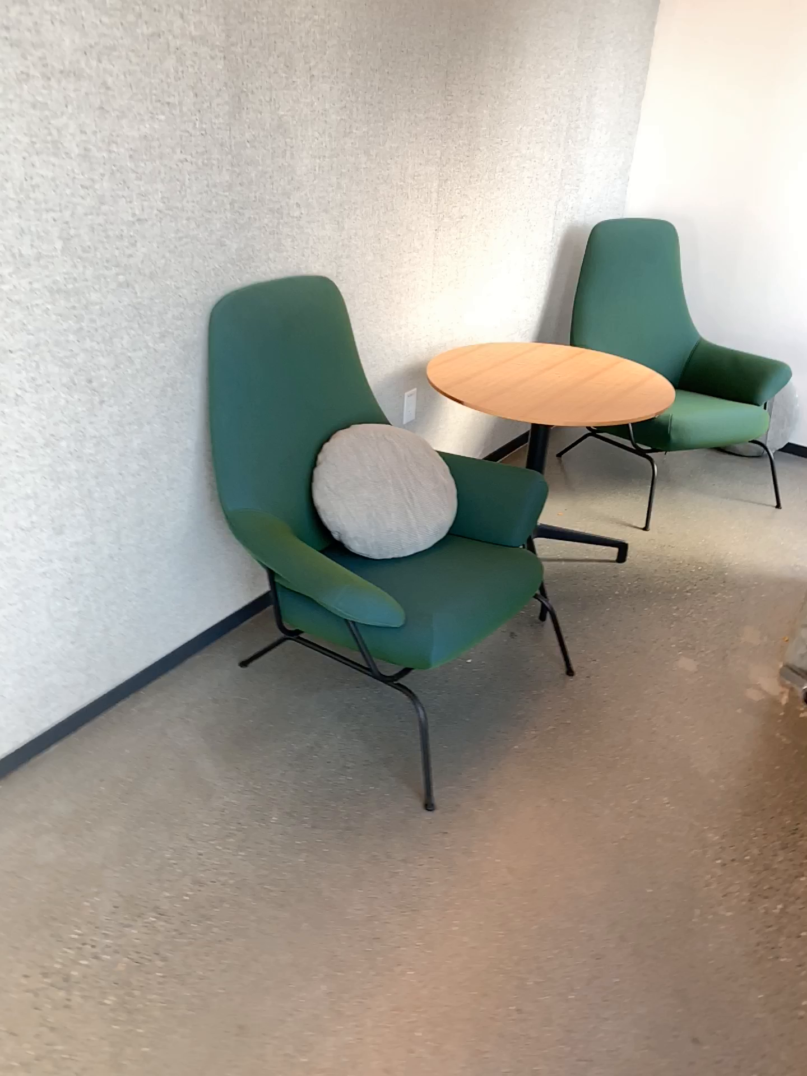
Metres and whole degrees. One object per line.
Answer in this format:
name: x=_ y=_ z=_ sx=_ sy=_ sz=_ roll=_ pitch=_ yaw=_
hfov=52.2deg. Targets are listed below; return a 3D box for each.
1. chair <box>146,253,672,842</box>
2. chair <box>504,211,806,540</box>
chair: x=0.004 y=-0.071 z=2.095 sx=0.853 sy=1.034 sz=0.833 roll=24 pitch=35 yaw=31
chair: x=1.052 y=-0.706 z=3.259 sx=0.820 sy=0.954 sz=1.006 roll=-8 pitch=31 yaw=-21
